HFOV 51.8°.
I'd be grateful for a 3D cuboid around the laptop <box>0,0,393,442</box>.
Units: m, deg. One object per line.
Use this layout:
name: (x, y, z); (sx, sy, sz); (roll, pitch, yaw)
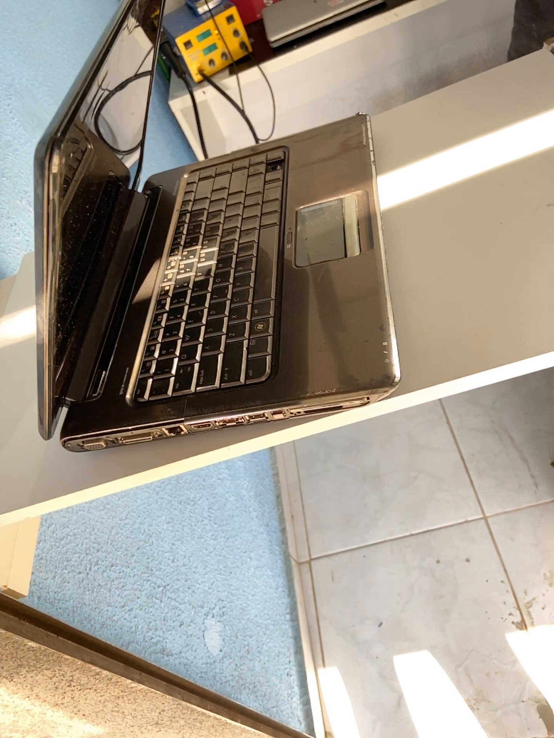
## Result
laptop: (-0.072, -0.159, 0.428); (0.244, 0.190, 0.345); (-11, 48, 17)
